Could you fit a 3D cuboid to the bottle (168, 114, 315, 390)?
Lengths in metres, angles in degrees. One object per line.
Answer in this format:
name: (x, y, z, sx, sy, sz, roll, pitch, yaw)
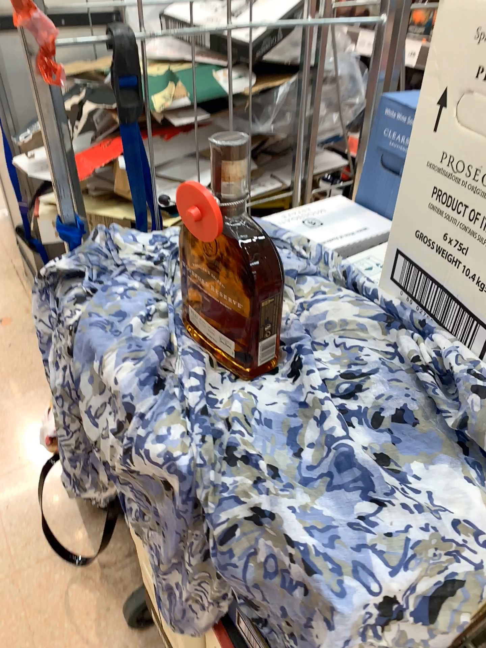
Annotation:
bottle: (-0.012, -0.066, 0.479, 0.051, 0.222, 0.134, -23, 43, -32)
